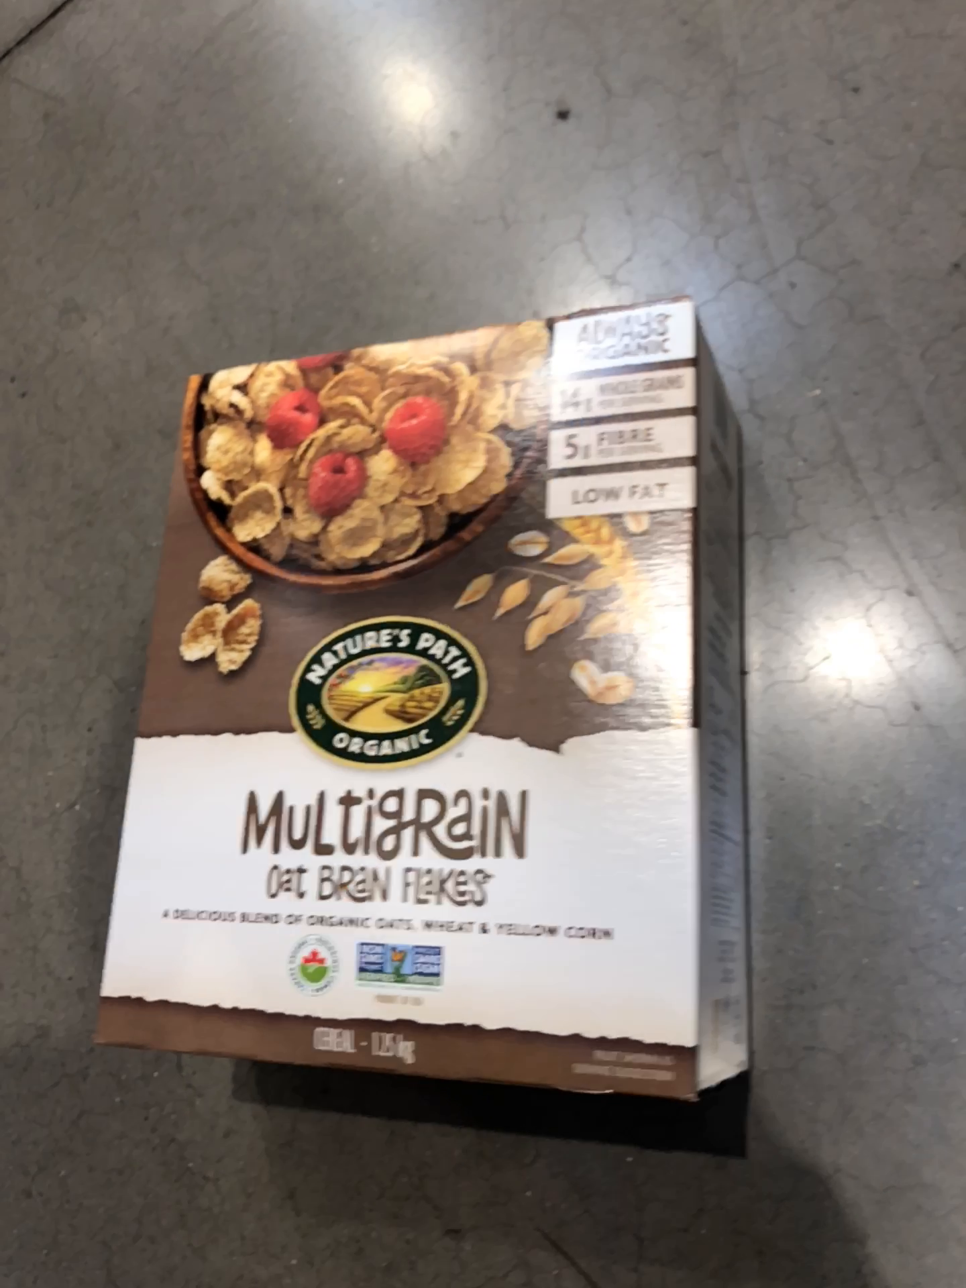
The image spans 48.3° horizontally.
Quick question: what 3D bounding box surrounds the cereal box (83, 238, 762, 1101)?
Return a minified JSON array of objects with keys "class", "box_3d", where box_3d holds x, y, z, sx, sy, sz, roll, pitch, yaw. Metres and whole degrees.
[{"class":"cereal box","box_3d":[-0.013,0.013,0.463,0.240,0.110,0.310,-3,72,20]}]
